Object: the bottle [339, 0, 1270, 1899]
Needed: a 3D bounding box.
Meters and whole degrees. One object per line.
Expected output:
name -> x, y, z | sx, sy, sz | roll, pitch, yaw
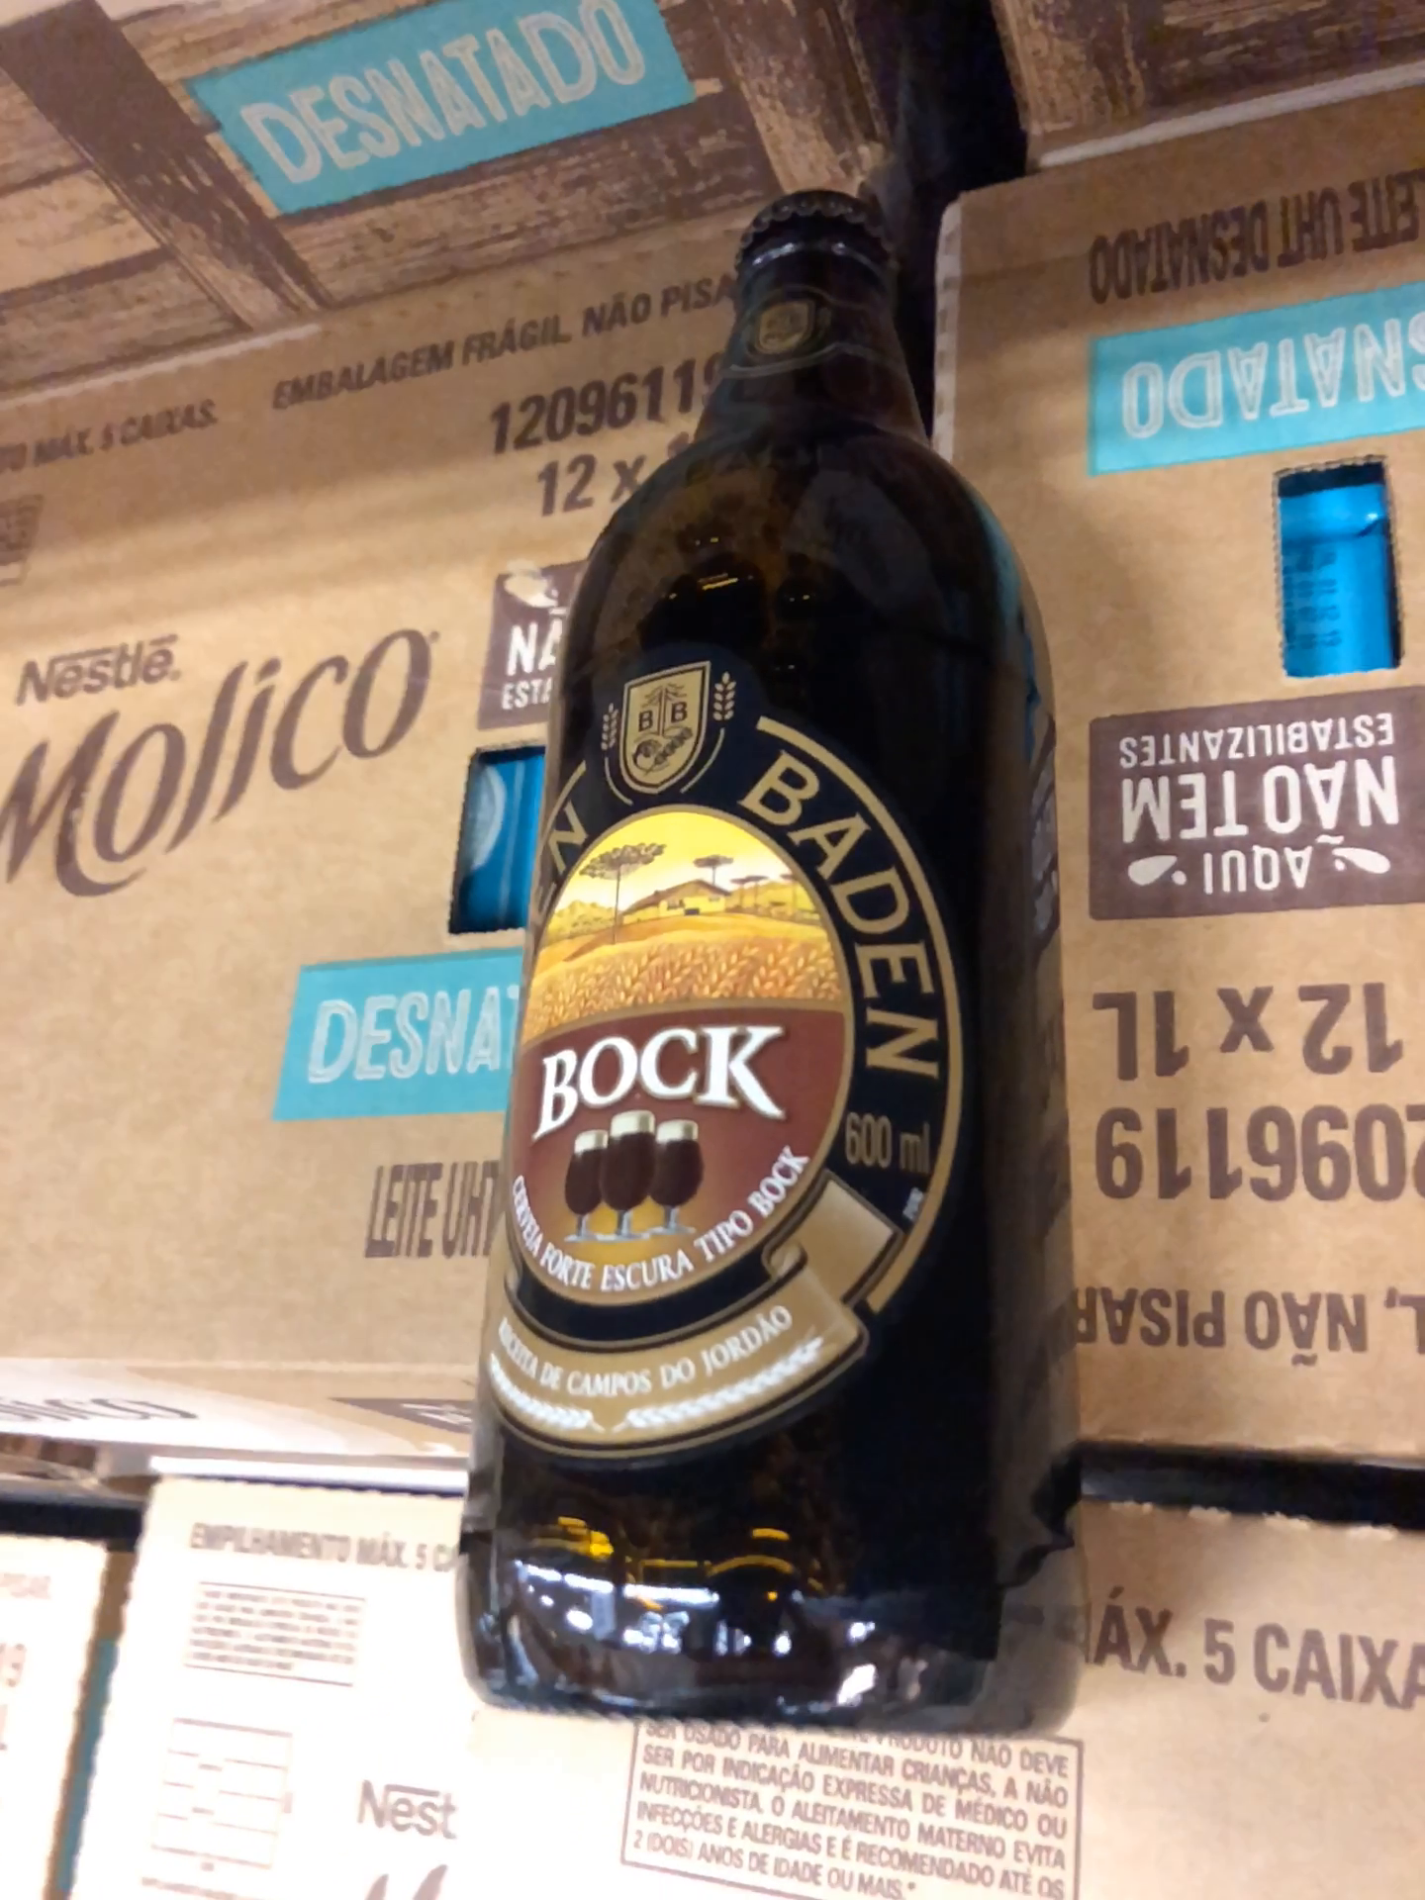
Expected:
bottle -> 0.021, -0.017, 0.210 | 0.080, 0.070, 0.231 | -5, 66, 20
